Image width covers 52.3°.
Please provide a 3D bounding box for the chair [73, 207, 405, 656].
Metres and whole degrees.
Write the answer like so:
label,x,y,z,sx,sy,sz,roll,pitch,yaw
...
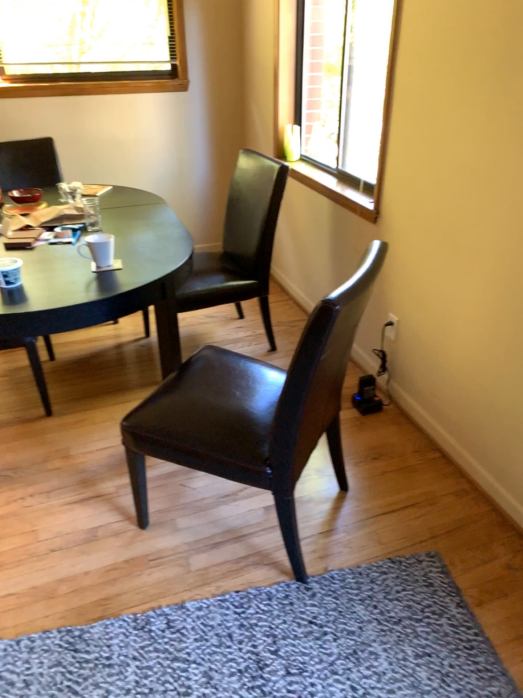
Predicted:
label,x,y,z,sx,sy,sz,roll,pitch,yaw
chair,-0.012,0.216,1.642,0.651,1.084,0.622,12,33,21
